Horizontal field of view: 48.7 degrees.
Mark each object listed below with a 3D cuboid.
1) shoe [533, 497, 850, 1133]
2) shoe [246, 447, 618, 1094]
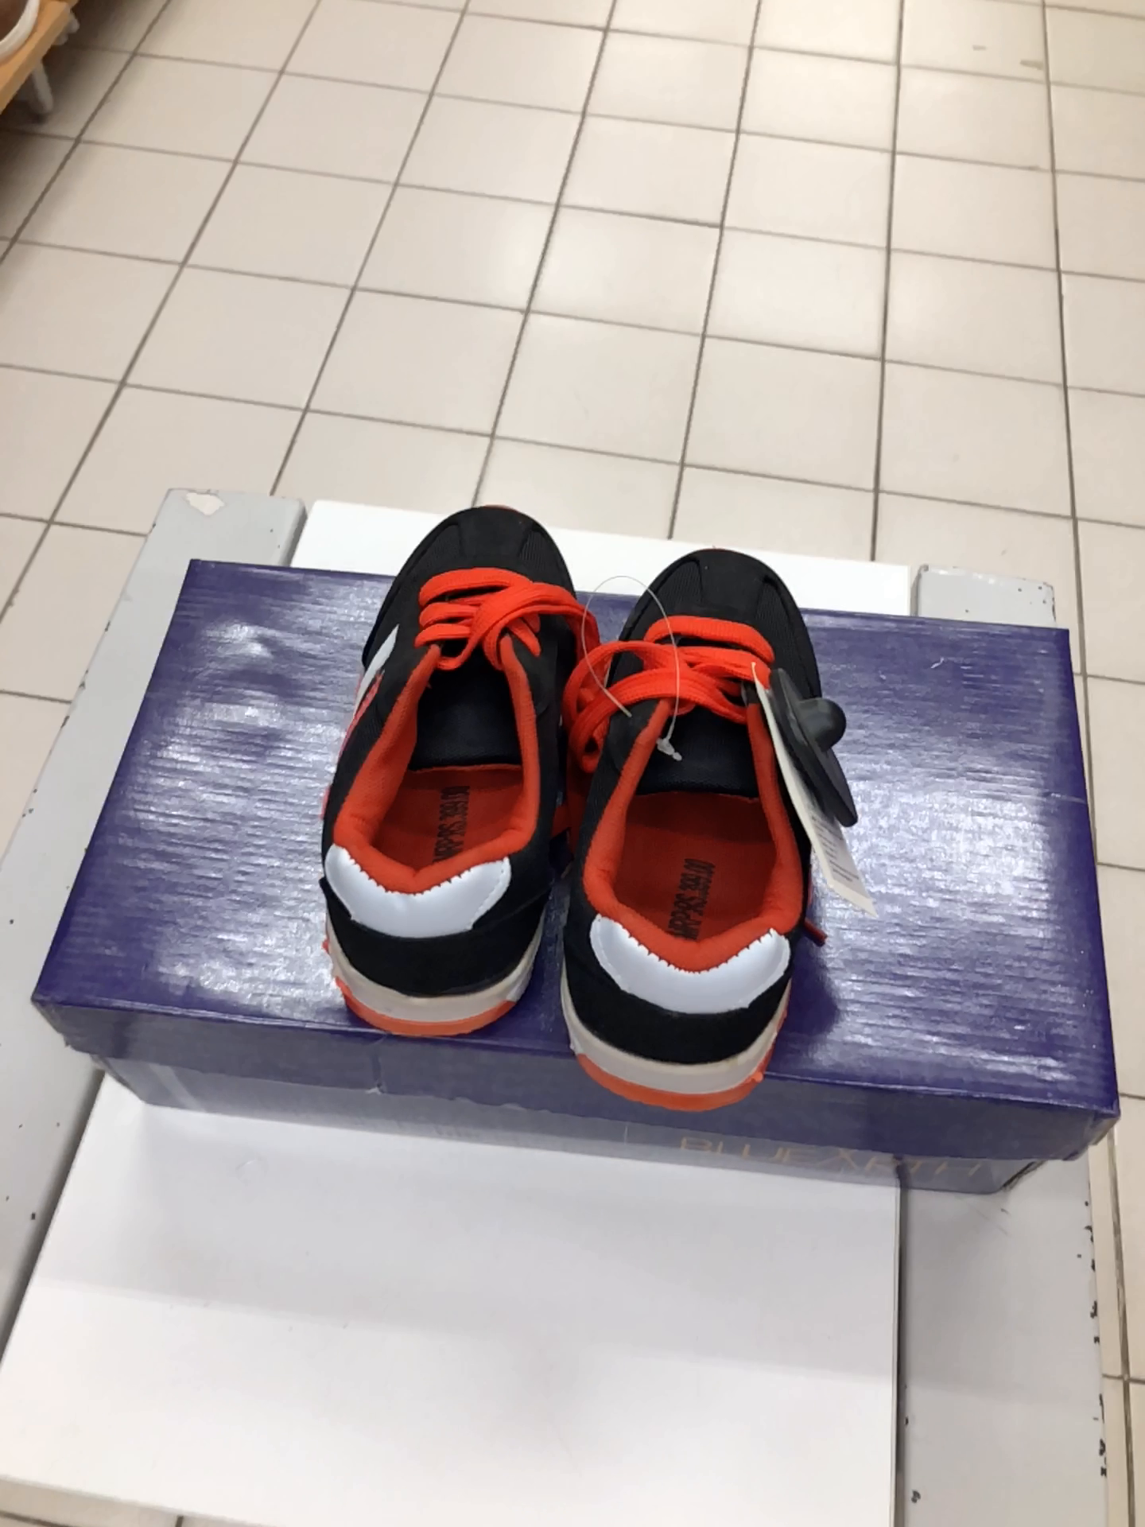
[{"bbox_3d":[0.038,0.015,0.409,0.080,0.100,0.171,7,58,2],"label":"shoe"},{"bbox_3d":[-0.036,0.001,0.418,0.080,0.100,0.181,7,58,2],"label":"shoe"}]
